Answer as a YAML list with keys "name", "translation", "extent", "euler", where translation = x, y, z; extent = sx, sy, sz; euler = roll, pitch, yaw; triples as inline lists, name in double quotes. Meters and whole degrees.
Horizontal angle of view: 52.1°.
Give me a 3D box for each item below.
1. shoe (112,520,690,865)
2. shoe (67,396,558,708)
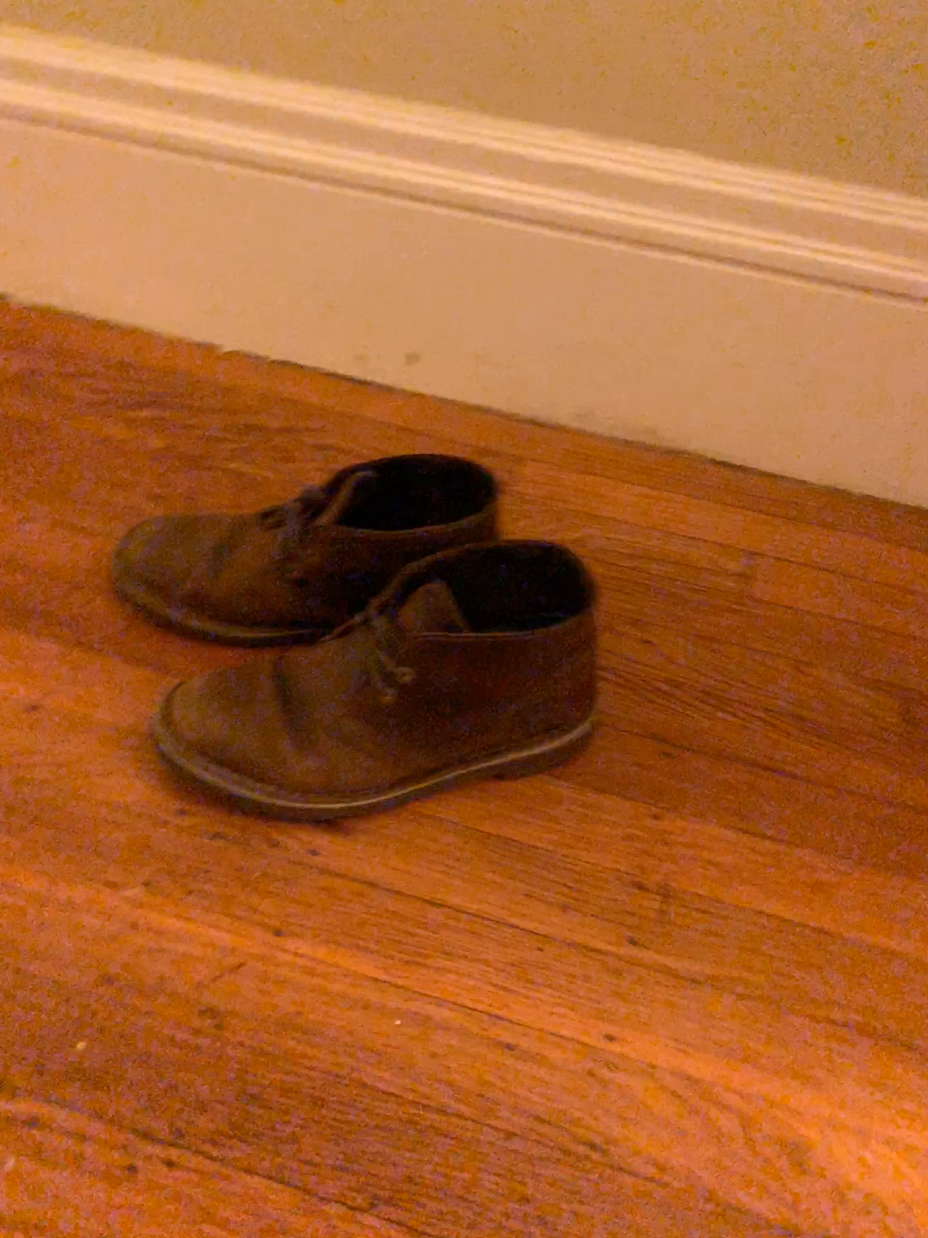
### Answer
- name: "shoe"
  translation: [-0.041, 0.039, 0.568]
  extent: [0.300, 0.119, 0.121]
  euler: [-7, 49, -12]
- name: "shoe"
  translation: [-0.093, -0.047, 0.651]
  extent: [0.290, 0.119, 0.121]
  euler: [9, 48, 2]
